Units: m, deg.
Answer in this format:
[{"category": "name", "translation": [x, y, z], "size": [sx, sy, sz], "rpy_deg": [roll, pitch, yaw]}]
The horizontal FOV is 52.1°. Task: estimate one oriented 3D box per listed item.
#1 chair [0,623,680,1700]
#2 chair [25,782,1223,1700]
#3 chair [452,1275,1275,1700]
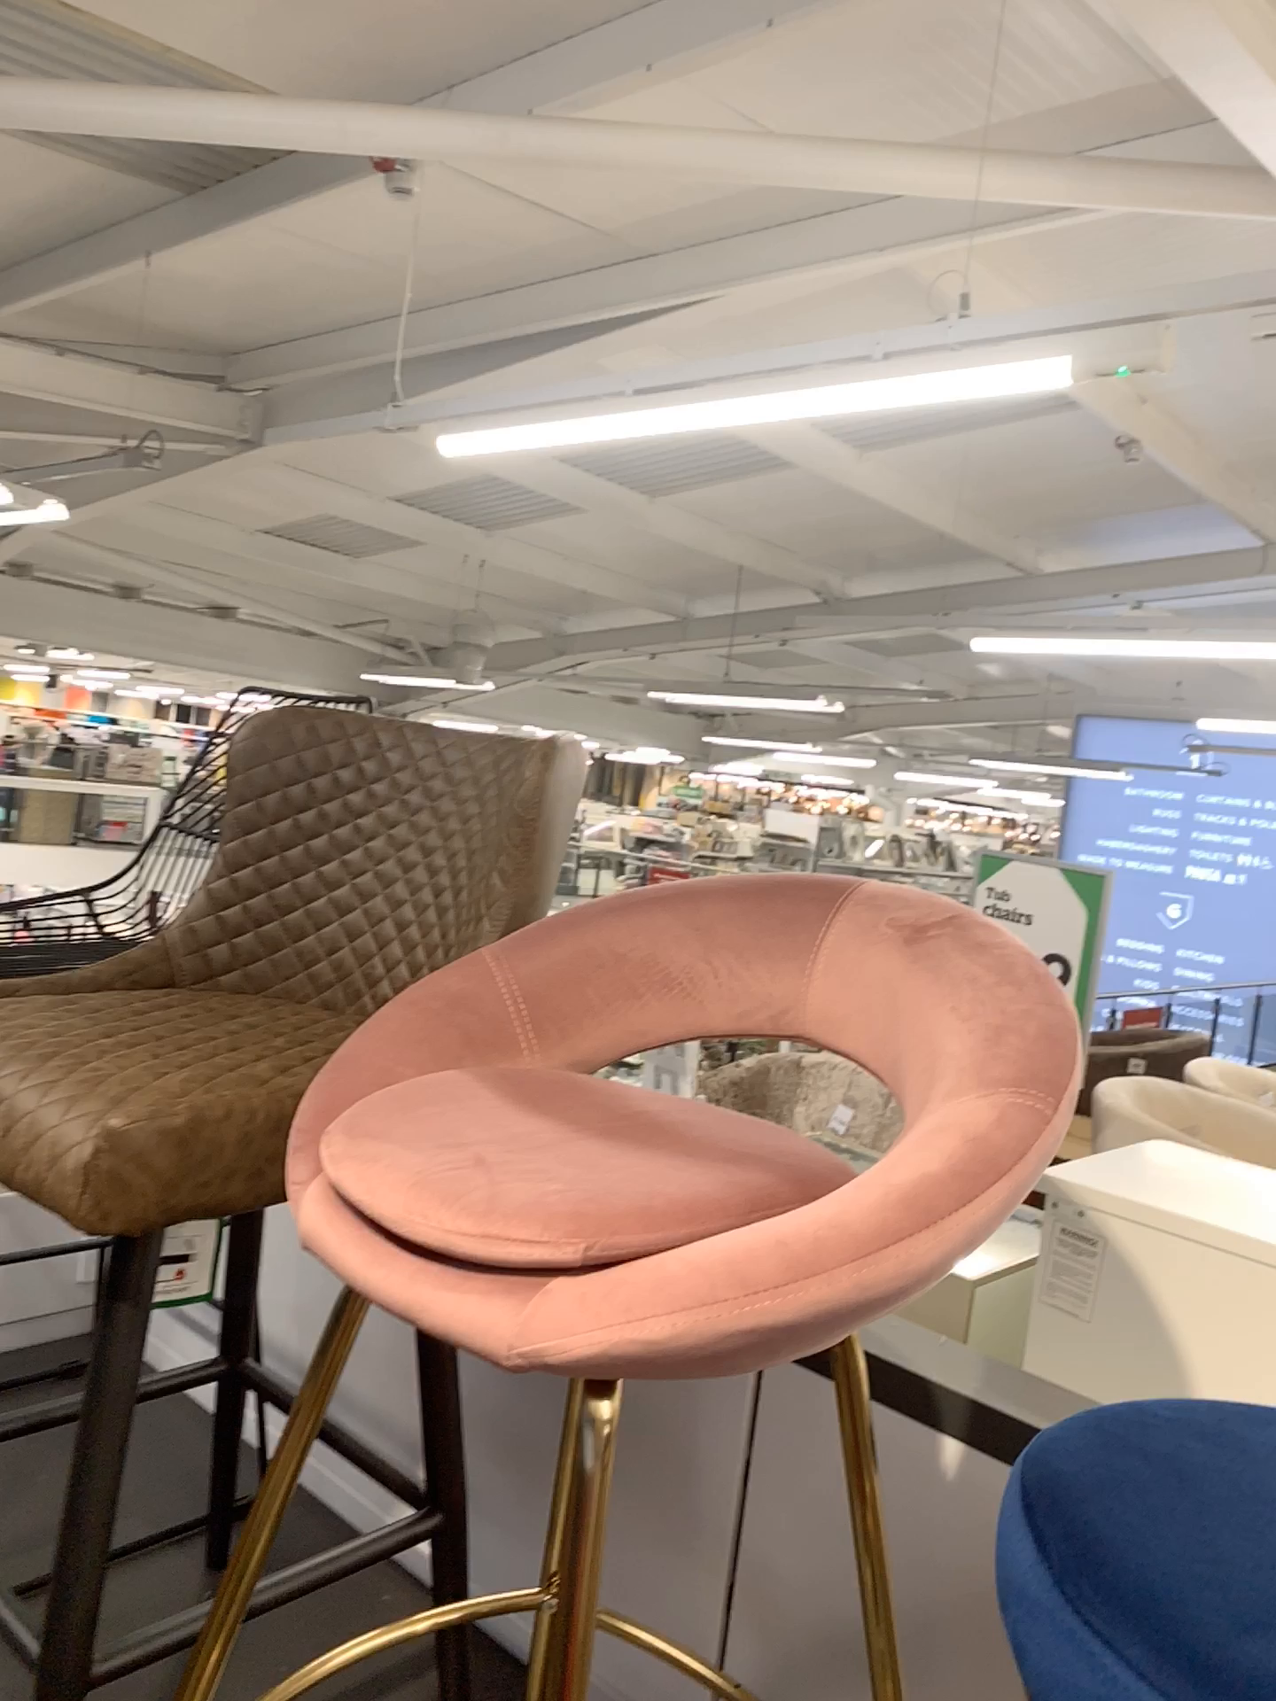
[{"category": "chair", "translation": [-0.360, 0.323, 1.146], "size": [0.502, 0.960, 0.451], "rpy_deg": [9, 2, 40]}, {"category": "chair", "translation": [-0.021, 0.426, 0.849], "size": [0.461, 0.860, 0.492], "rpy_deg": [6, 2, -44]}, {"category": "chair", "translation": [0.277, 0.589, 0.512], "size": [0.431, 0.620, 0.462], "rpy_deg": [6, 2, -44]}]
